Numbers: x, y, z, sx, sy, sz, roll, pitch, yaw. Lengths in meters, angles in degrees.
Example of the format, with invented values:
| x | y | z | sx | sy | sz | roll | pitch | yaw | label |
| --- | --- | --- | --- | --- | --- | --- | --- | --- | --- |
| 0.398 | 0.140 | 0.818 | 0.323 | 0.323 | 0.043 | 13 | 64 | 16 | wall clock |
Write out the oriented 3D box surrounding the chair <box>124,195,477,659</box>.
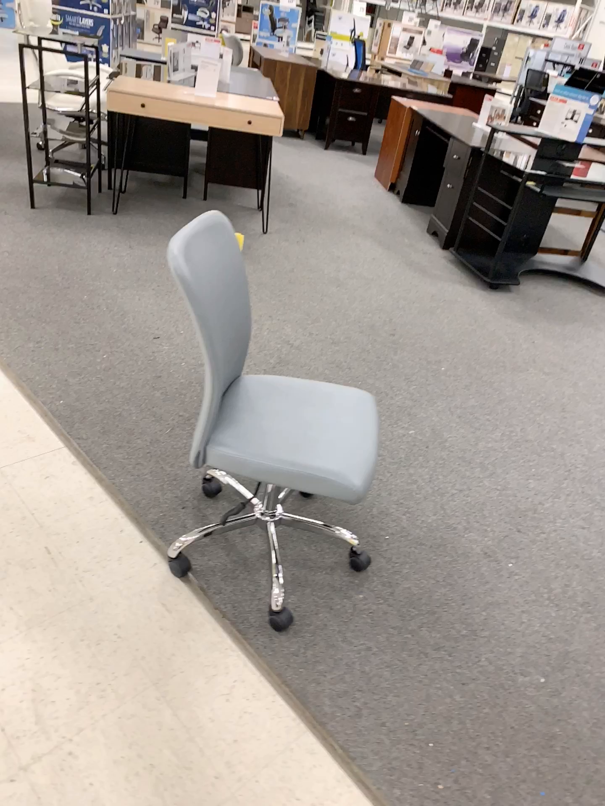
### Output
| x | y | z | sx | sy | sz | roll | pitch | yaw | label |
| --- | --- | --- | --- | --- | --- | --- | --- | --- | --- |
| -0.016 | 0.043 | 1.582 | 0.650 | 0.875 | 0.603 | 15 | 33 | 6 | chair |
